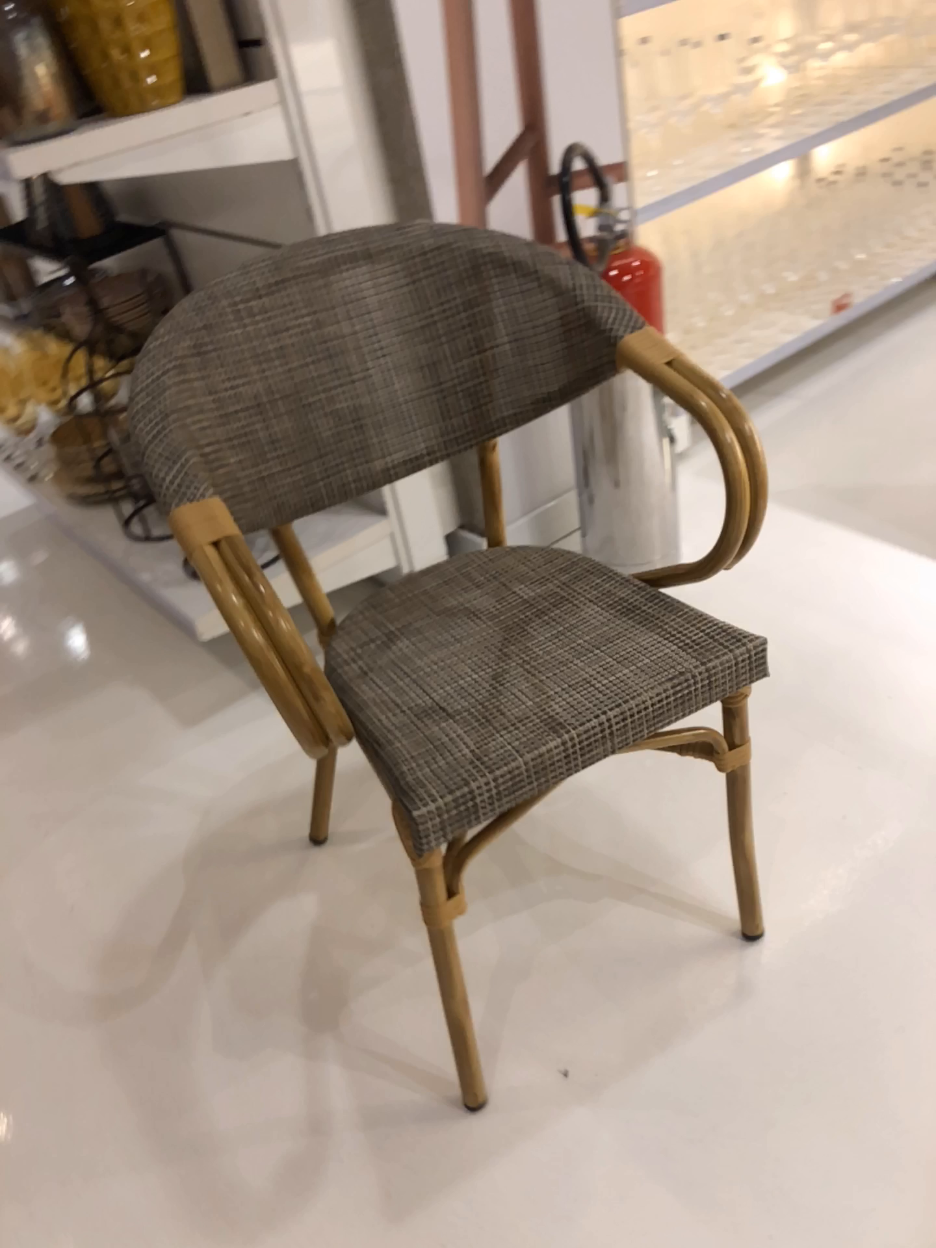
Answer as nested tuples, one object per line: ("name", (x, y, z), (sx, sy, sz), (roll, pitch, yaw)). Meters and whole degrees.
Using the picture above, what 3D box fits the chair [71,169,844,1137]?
("chair", (0.005, -0.006, 1.171), (0.521, 0.784, 0.574), (-24, 36, -17))
